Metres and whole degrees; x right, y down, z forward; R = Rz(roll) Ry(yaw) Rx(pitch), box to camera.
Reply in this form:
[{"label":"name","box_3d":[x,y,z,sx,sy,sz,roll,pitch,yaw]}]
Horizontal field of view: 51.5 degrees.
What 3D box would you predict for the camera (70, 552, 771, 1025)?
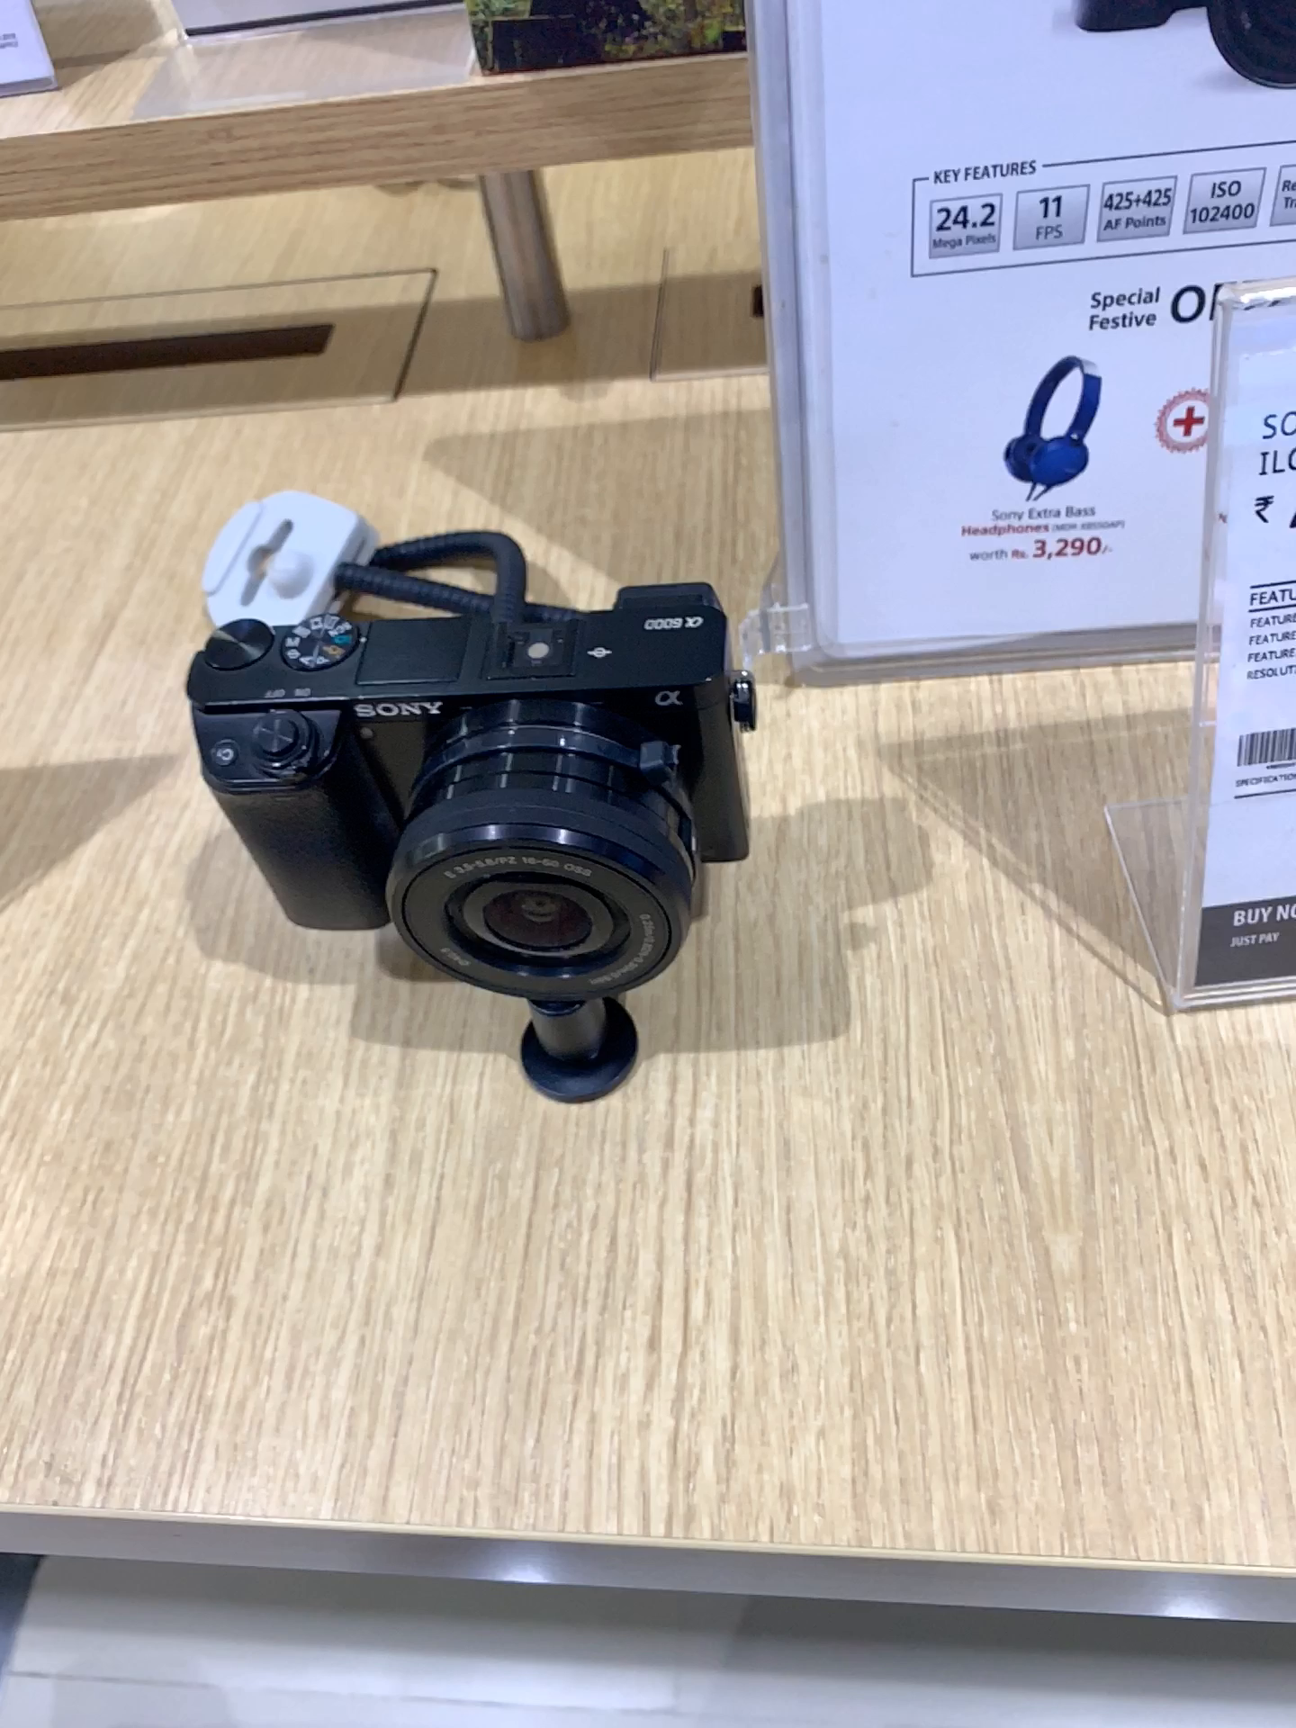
[{"label":"camera","box_3d":[-0.040,-0.014,0.298,0.130,0.070,0.070,-2,52,8]}]
